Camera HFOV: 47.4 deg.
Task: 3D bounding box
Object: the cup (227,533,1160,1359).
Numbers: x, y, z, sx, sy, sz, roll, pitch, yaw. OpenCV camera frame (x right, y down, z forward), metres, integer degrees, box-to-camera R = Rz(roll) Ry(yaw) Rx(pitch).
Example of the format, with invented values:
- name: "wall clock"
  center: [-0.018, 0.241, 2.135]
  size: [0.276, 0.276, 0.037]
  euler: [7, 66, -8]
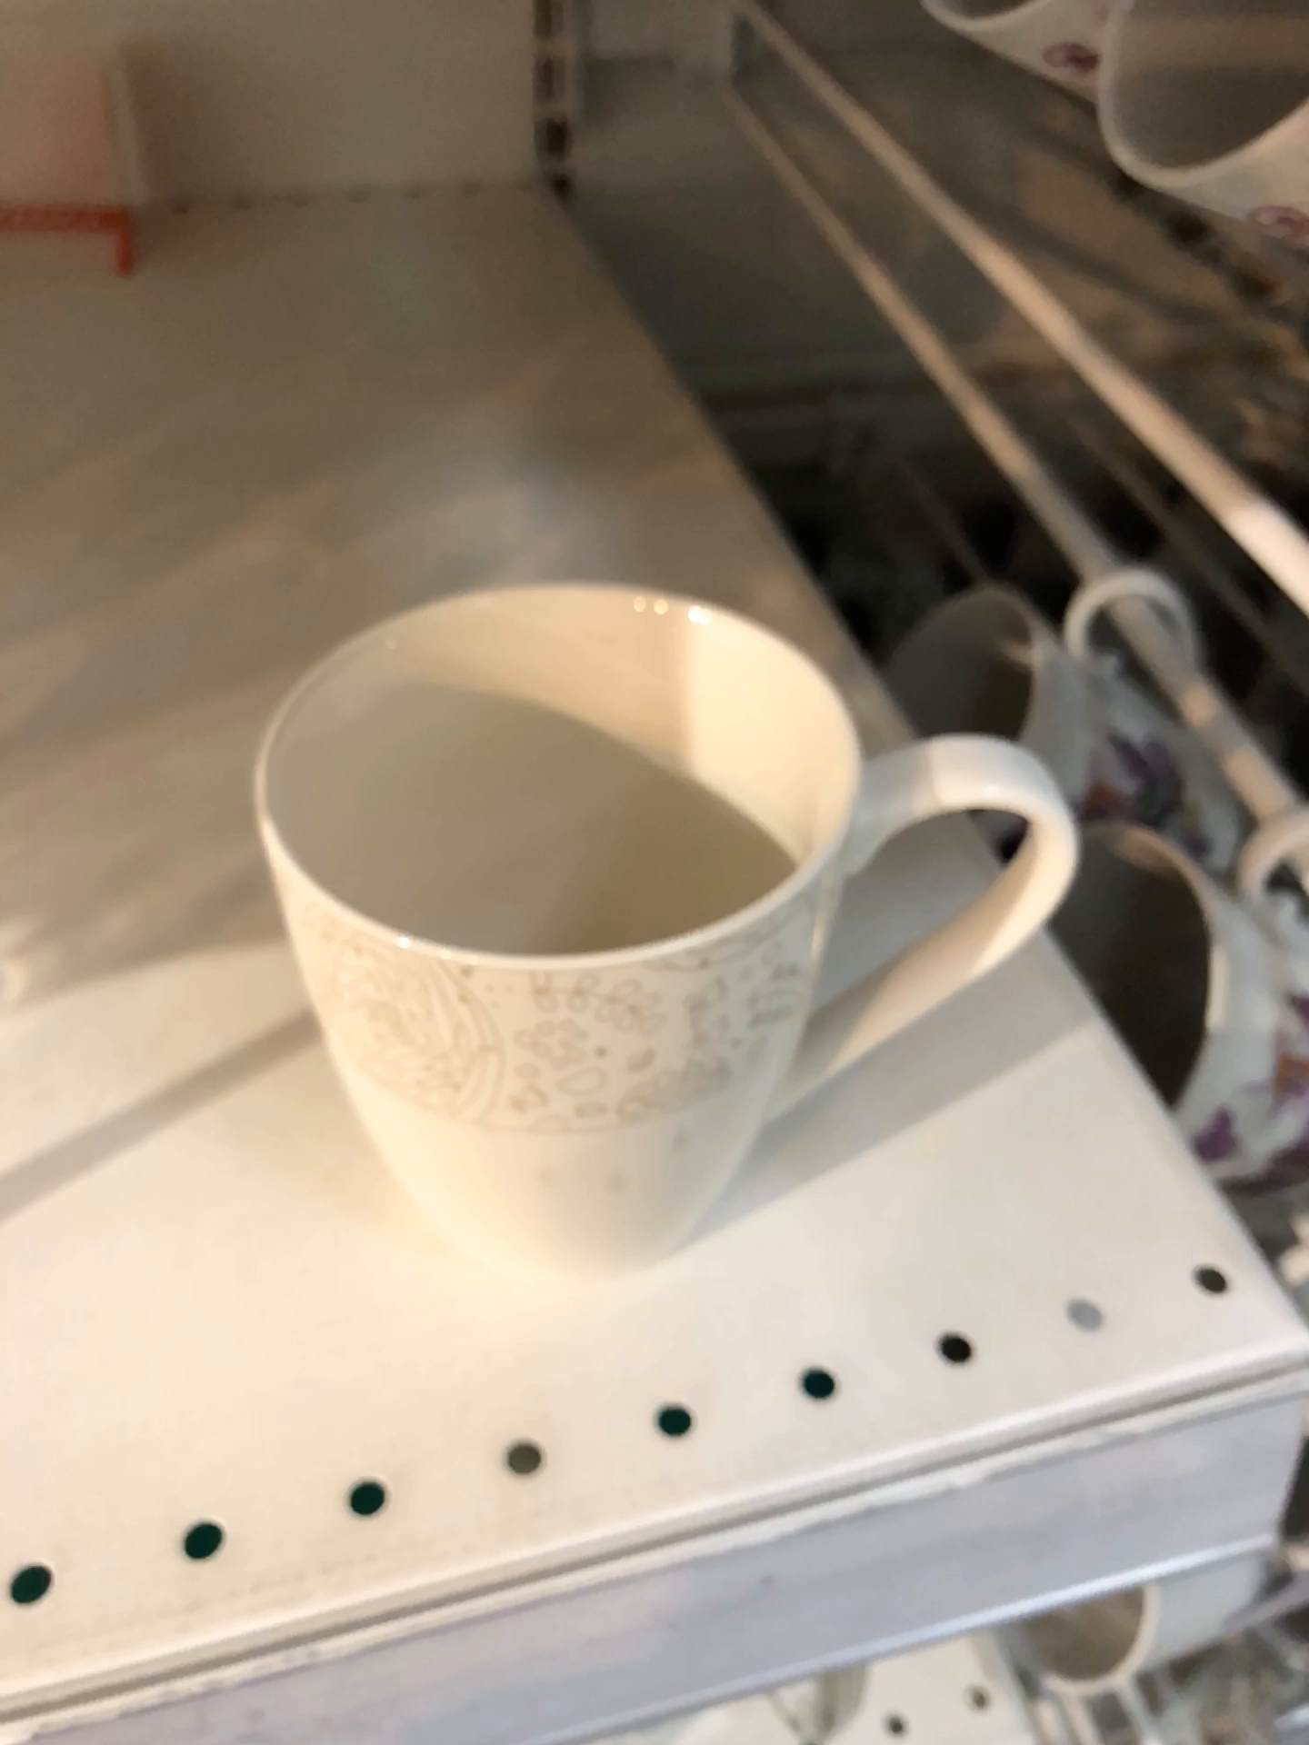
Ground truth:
- name: "cup"
  center: [-0.002, 0.010, 0.259]
  size: [0.126, 0.091, 0.090]
  euler: [-7, 44, -10]
